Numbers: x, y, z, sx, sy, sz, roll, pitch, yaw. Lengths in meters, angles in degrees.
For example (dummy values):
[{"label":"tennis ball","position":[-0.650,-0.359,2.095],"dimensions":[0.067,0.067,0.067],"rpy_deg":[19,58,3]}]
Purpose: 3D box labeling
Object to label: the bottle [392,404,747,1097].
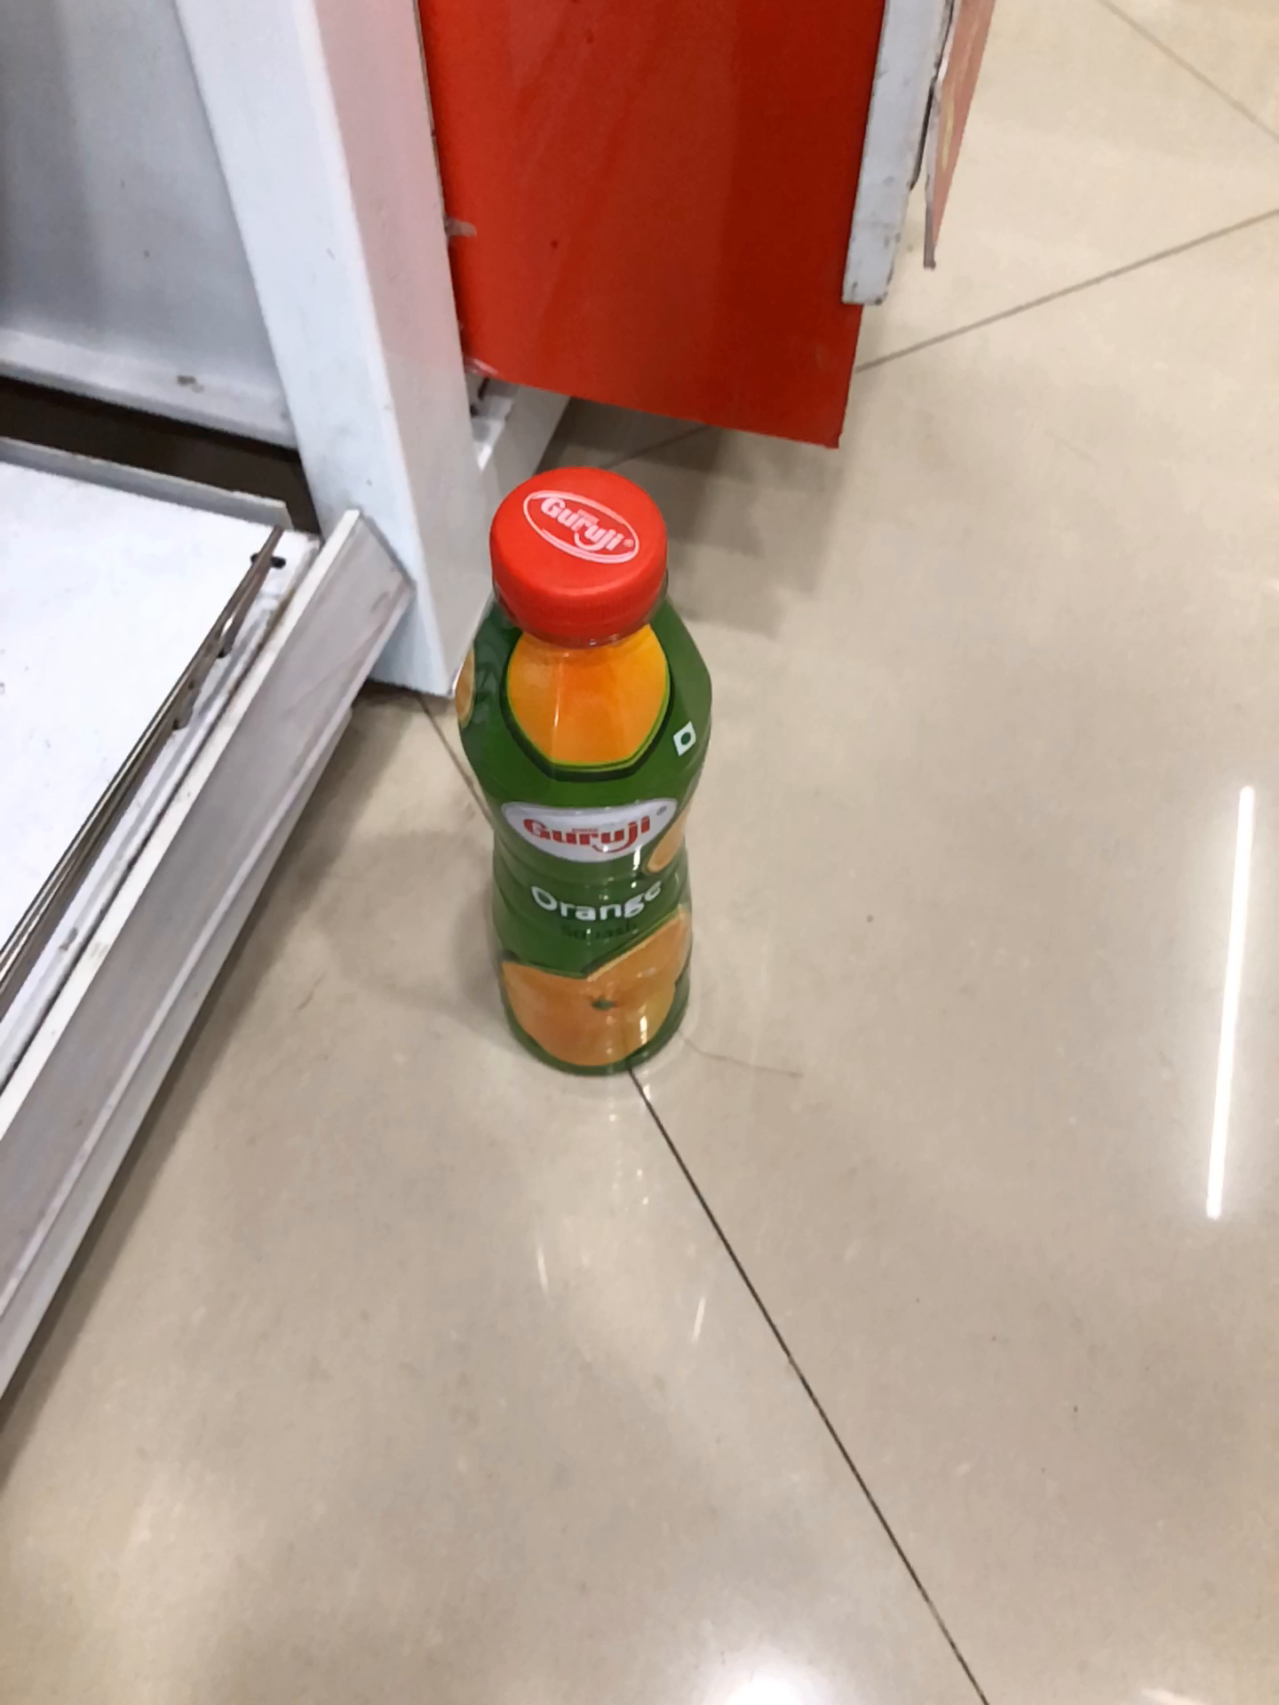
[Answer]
[{"label":"bottle","position":[-0.016,-0.009,0.408],"dimensions":[0.070,0.239,0.070],"rpy_deg":[0,60,0]}]
